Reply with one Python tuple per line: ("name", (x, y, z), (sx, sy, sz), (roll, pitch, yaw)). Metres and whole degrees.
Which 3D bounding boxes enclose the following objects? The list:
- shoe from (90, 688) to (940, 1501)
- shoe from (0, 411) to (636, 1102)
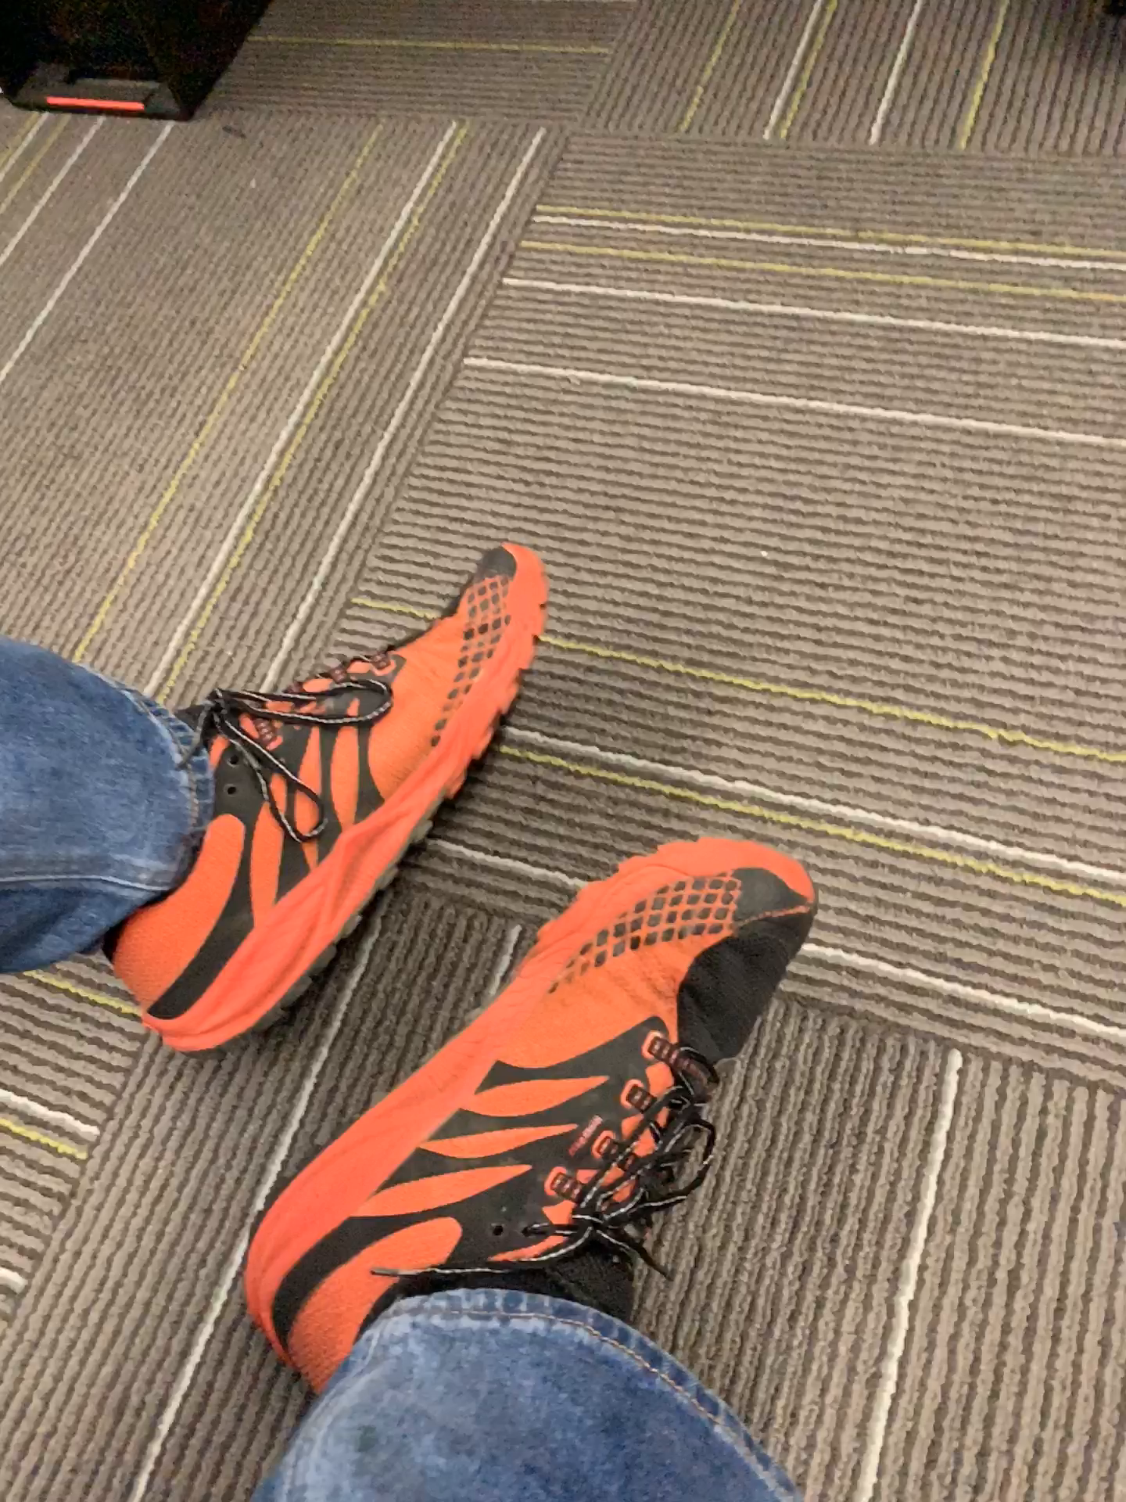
("shoe", (-0.006, 0.144, 0.475), (0.317, 0.138, 0.109), (-42, 46, -9))
("shoe", (-0.122, -0.005, 0.564), (0.108, 0.128, 0.307), (44, 76, -16))
